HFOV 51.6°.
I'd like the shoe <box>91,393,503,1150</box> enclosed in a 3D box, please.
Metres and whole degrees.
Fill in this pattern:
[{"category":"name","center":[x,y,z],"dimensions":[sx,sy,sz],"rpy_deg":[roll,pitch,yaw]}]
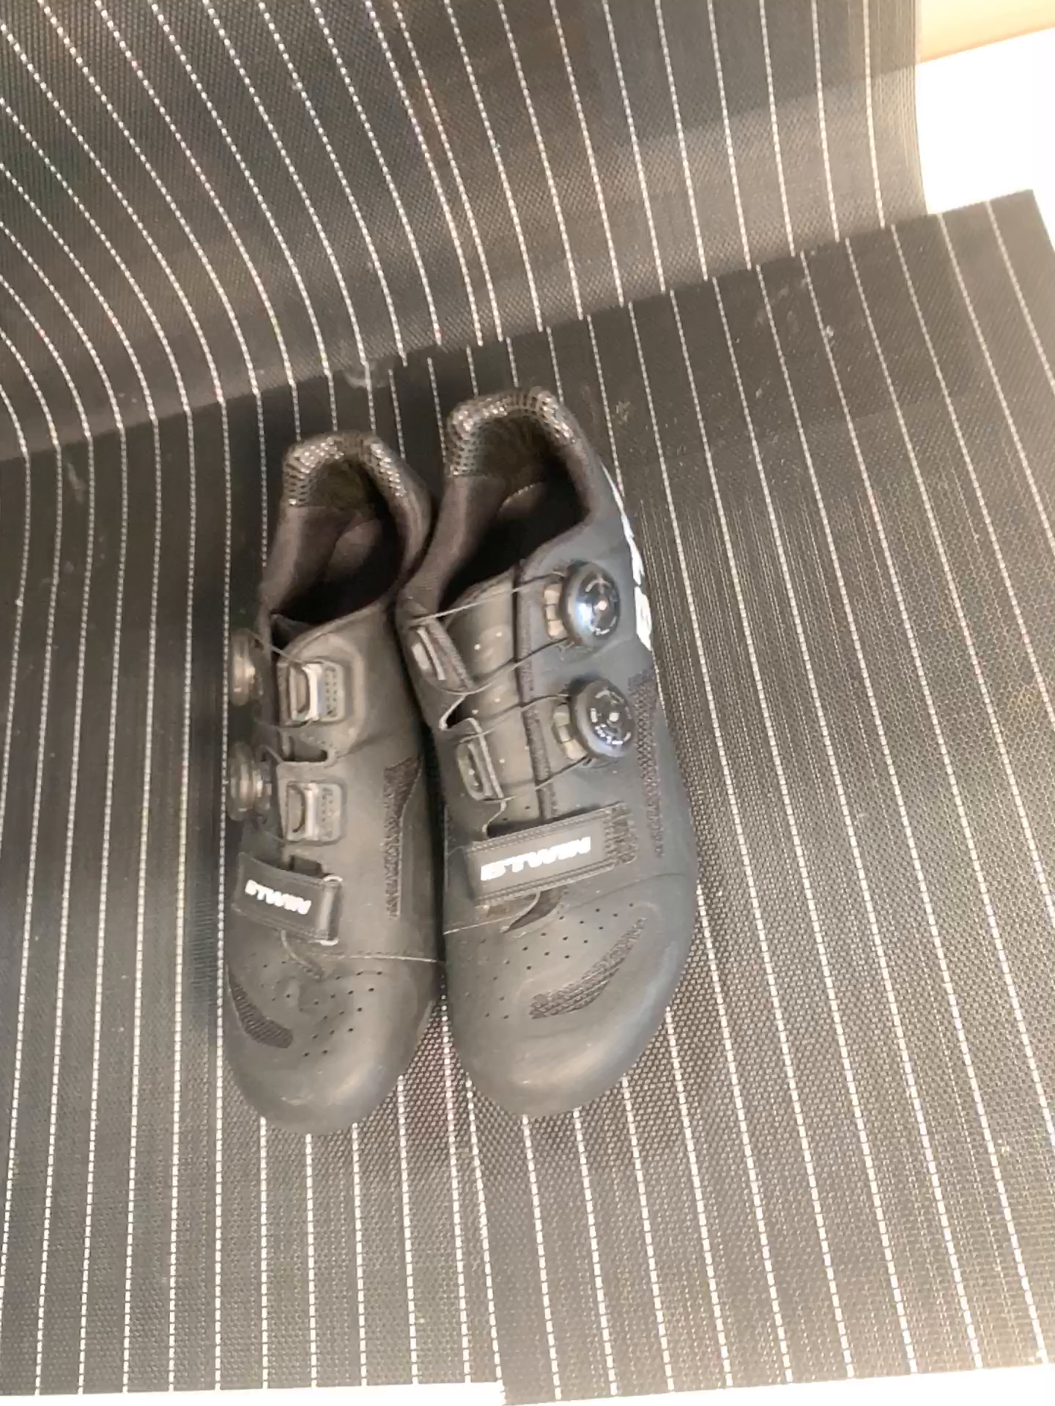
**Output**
[{"category":"shoe","center":[-0.075,0.026,0.416],"dimensions":[0.100,0.090,0.260],"rpy_deg":[-4,70,15]}]

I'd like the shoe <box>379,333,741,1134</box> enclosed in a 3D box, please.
[{"category":"shoe","center":[0.011,0.012,0.404],"dimensions":[0.100,0.090,0.270],"rpy_deg":[-7,69,14]}]
